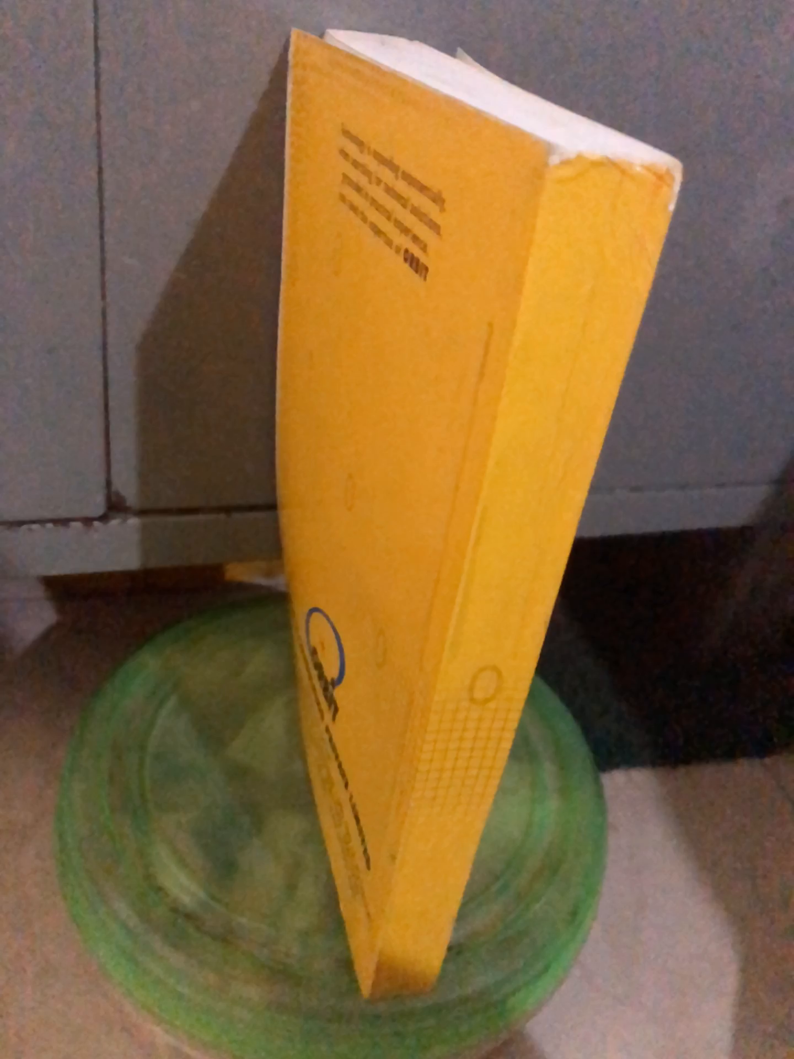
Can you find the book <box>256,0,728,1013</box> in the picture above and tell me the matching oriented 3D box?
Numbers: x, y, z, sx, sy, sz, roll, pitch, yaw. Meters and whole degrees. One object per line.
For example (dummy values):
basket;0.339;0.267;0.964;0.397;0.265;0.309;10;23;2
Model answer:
book;-0.008;-0.018;0.313;0.040;0.279;0.221;0;34;-16
